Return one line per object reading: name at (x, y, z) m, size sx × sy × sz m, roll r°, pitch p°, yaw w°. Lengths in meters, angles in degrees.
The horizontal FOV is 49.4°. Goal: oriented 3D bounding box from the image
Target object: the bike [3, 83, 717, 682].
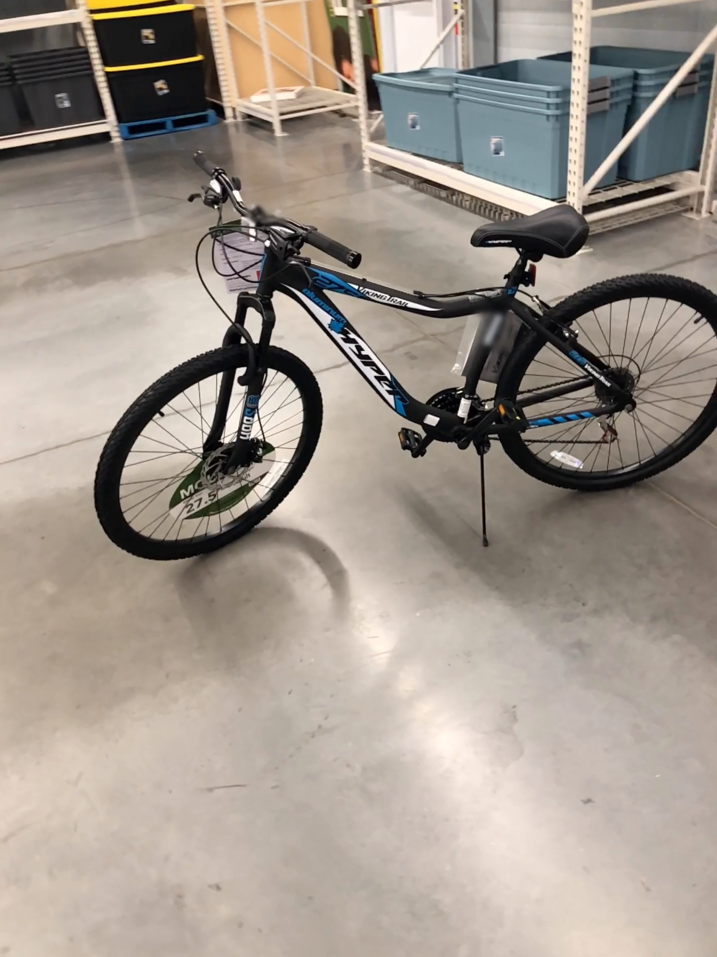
bike at (0.187, -0.259, 1.918) m, size 1.632 × 0.987 × 0.575 m, roll -13°, pitch 34°, yaw -7°
